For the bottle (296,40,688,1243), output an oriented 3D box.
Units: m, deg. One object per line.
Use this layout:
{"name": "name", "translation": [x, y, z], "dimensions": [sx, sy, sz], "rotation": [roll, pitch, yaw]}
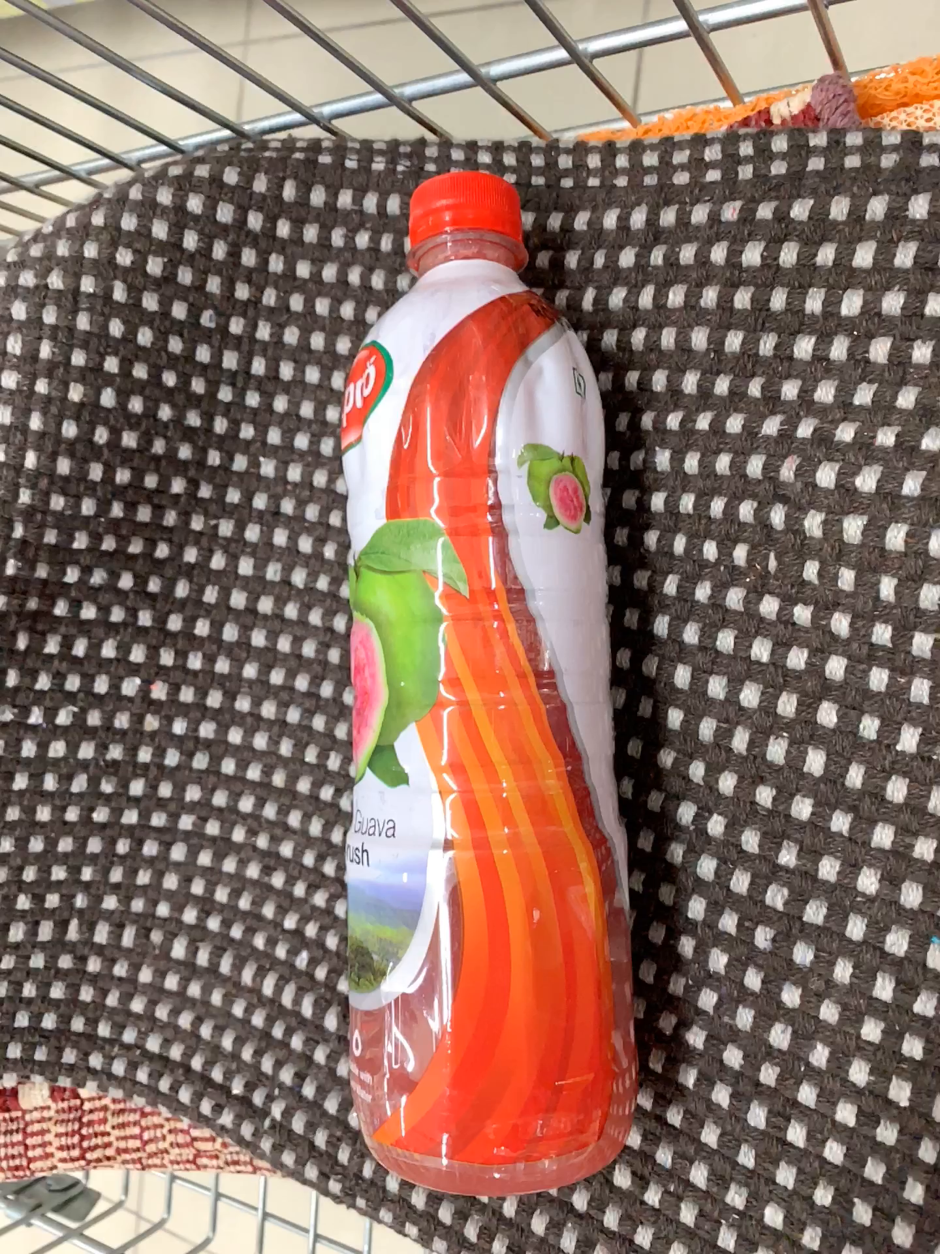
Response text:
{"name": "bottle", "translation": [0.000, -0.001, 0.237], "dimensions": [0.070, 0.070, 0.240], "rotation": [2, 82, -17]}
